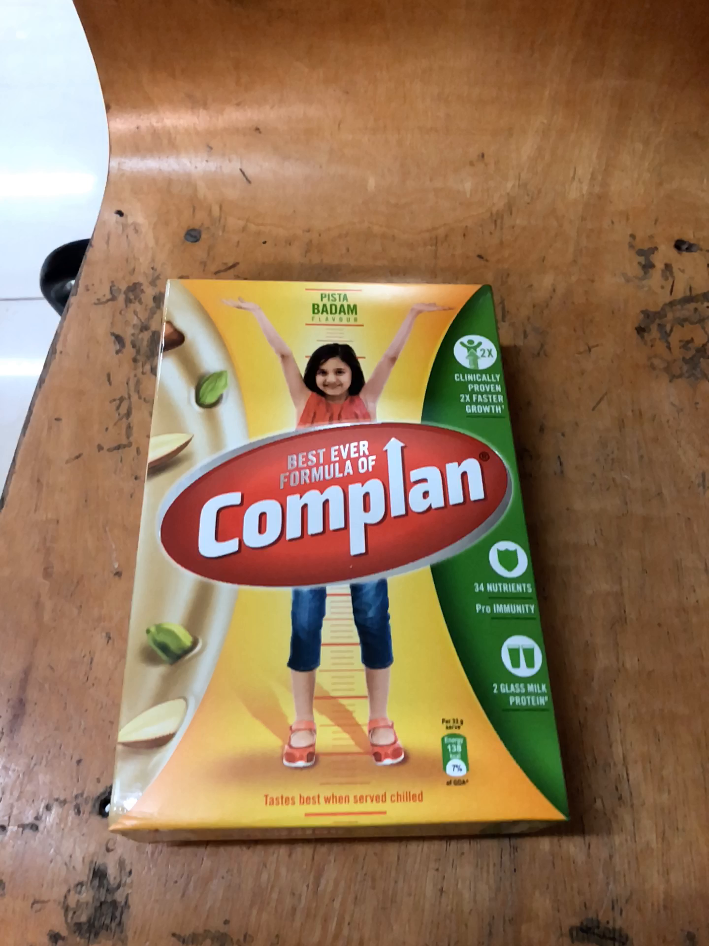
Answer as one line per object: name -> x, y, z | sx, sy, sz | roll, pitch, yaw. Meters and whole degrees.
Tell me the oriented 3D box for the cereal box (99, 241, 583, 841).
cereal box -> -0.009, 0.015, 0.301 | 0.140, 0.050, 0.221 | 1, 62, -6
